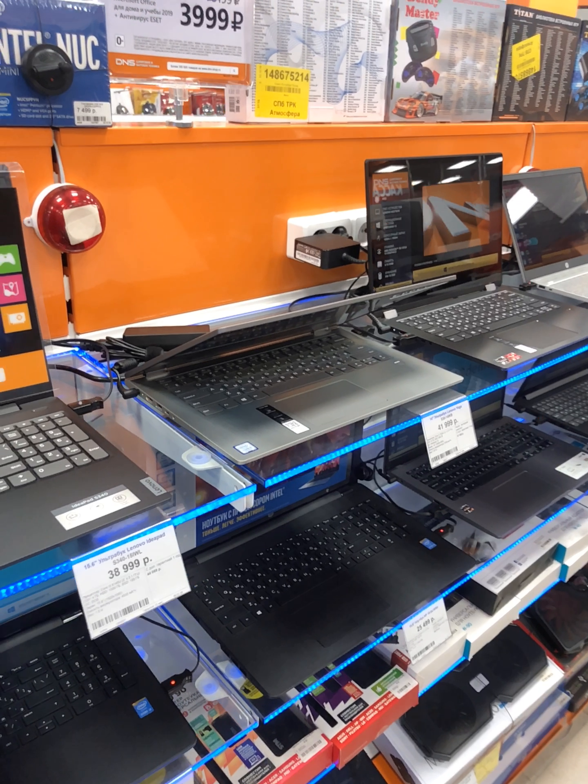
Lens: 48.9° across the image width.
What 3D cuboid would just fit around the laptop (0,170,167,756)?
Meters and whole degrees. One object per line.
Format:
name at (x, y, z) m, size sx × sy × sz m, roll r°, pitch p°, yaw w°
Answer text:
laptop at (-0.305, -0.020, 0.449) m, size 0.330 × 0.219 × 0.277 m, roll -18°, pitch 32°, yaw -38°

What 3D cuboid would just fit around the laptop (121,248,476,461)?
laptop at (0.008, -0.064, 0.708) m, size 0.314 × 0.110 × 0.210 m, roll -17°, pitch 32°, yaw -37°

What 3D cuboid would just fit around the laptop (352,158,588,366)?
laptop at (0.302, -0.207, 0.925) m, size 0.328 × 0.210 × 0.247 m, roll -19°, pitch 33°, yaw -39°

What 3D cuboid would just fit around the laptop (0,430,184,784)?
laptop at (-0.301, 0.235, 0.580) m, size 0.333 × 0.222 × 0.244 m, roll -16°, pitch 34°, yaw -37°

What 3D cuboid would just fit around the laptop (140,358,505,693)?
laptop at (0.036, 0.137, 0.846) m, size 0.362 × 0.223 × 0.260 m, roll -17°, pitch 32°, yaw -36°

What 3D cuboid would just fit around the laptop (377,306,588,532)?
laptop at (0.360, 0.024, 1.091) m, size 0.329 × 0.228 × 0.235 m, roll -19°, pitch 34°, yaw -38°
